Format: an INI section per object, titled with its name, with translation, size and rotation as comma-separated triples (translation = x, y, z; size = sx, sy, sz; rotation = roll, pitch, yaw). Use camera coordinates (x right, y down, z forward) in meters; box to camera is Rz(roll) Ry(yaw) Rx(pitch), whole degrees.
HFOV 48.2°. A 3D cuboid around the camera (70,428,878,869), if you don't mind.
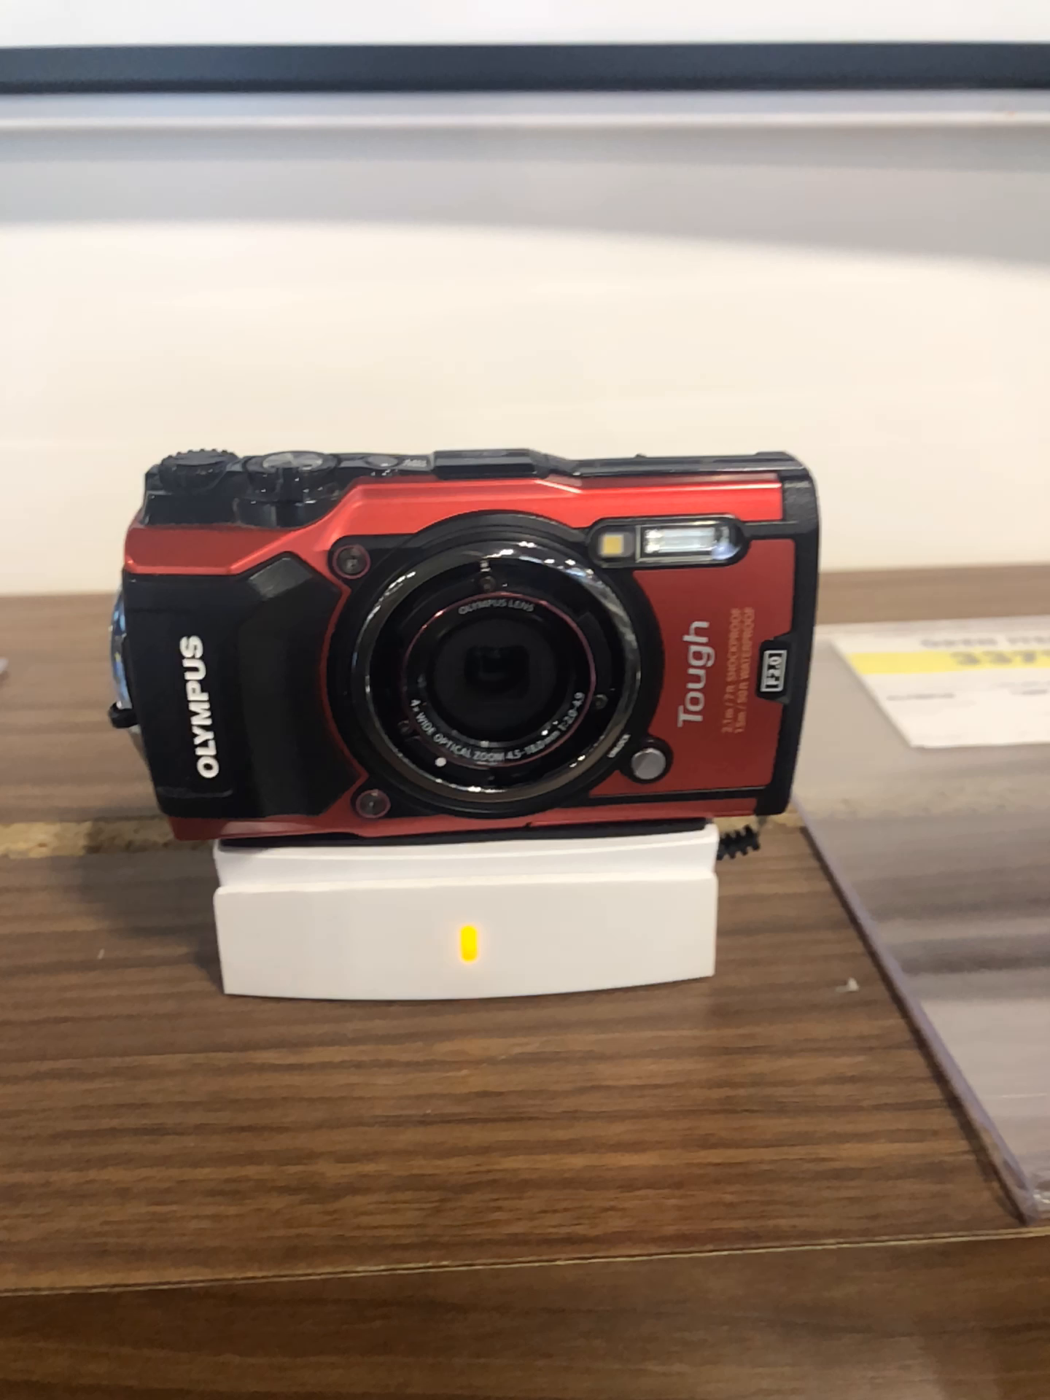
[camera]
translation = -0.007, -0.009, 0.196
size = 0.117, 0.064, 0.030
rotation = -1, 23, -2
